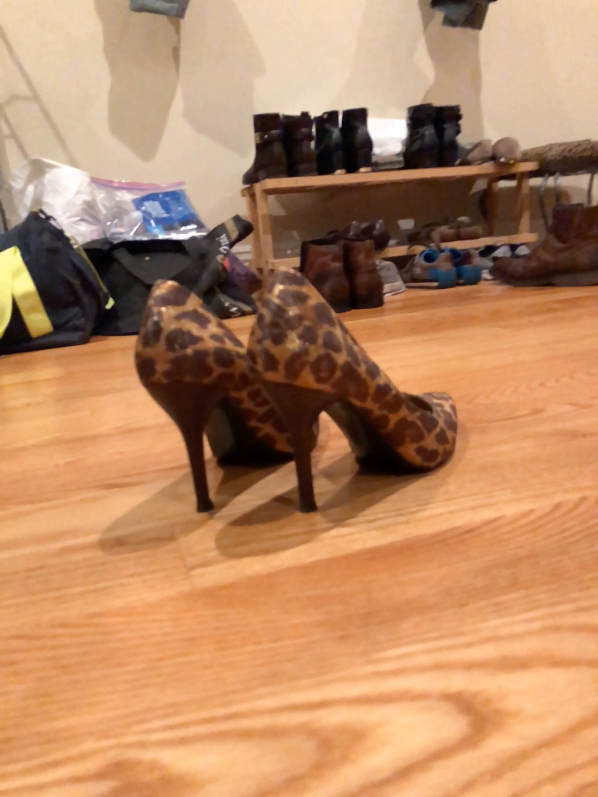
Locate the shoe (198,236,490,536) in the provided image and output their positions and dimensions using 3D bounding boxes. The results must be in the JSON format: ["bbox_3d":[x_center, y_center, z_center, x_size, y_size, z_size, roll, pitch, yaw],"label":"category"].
[{"bbox_3d":[0.048,-0.027,0.436,0.083,0.144,0.219,4,16,35],"label":"shoe"}]

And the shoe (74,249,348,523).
[{"bbox_3d":[-0.043,-0.027,0.469,0.083,0.144,0.219,0,14,23],"label":"shoe"}]
